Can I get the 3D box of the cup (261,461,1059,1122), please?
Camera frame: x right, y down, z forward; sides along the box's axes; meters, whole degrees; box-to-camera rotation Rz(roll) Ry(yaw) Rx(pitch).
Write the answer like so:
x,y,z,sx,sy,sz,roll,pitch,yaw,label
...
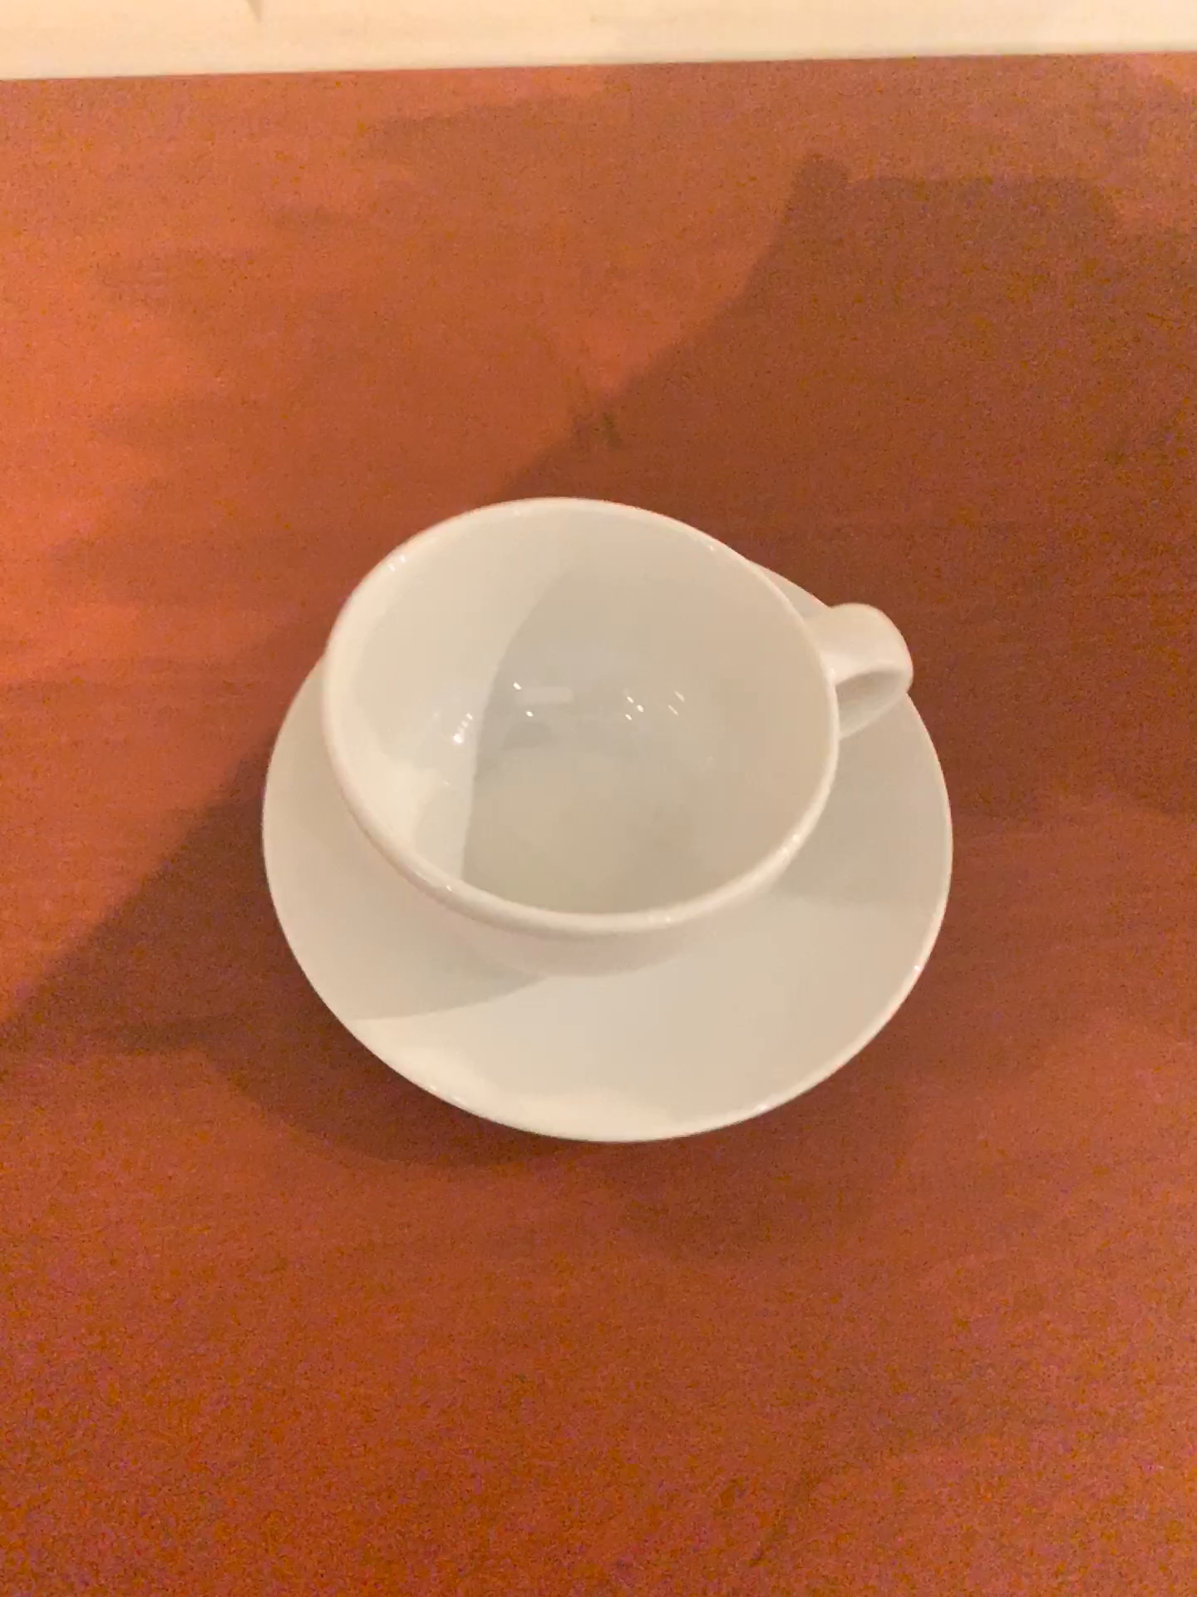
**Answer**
x,y,z,sx,sy,sz,roll,pitch,yaw,label
0.007,-0.003,0.225,0.110,0.050,0.080,-15,63,-12,cup
